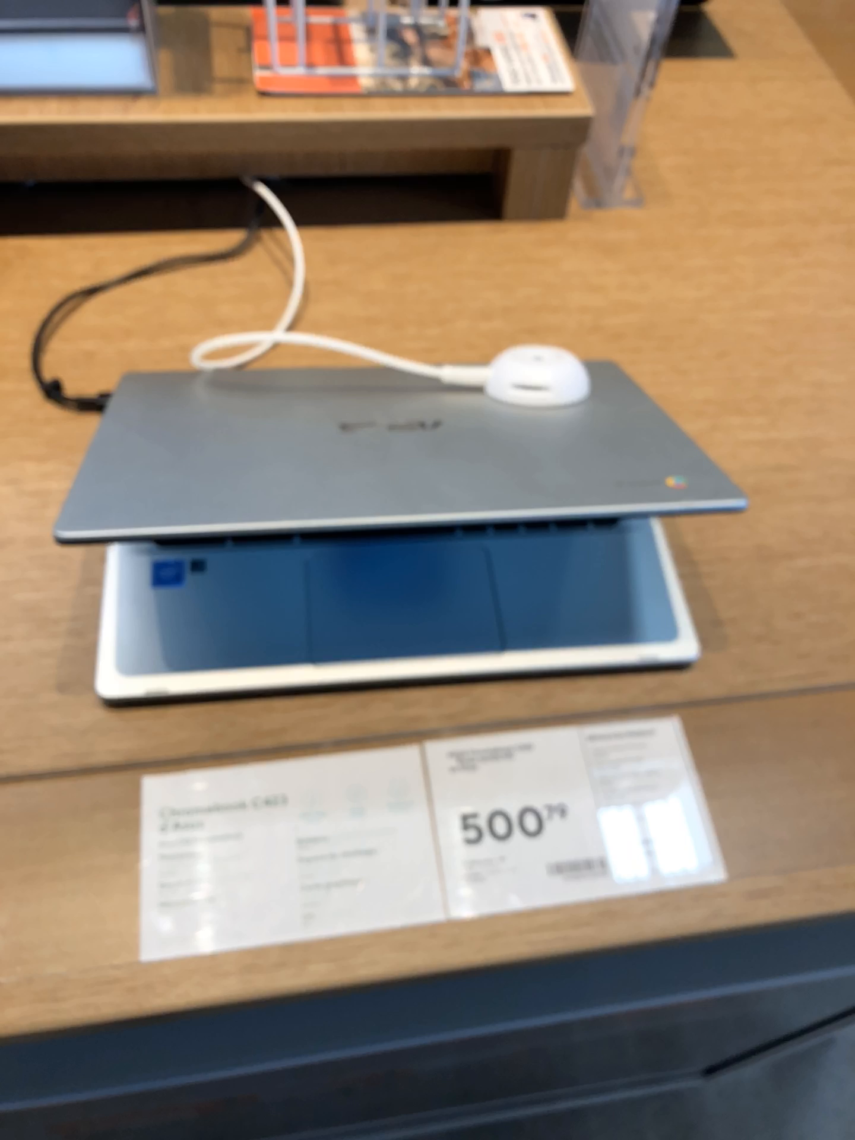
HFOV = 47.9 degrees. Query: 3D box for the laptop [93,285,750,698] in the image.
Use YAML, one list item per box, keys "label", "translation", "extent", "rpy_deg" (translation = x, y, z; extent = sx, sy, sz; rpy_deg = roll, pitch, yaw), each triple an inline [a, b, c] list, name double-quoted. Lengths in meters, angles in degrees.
- label: "laptop"
  translation: [-0.008, -0.053, 0.527]
  extent: [0.304, 0.080, 0.206]
  rpy_deg: [-2, 58, -9]
